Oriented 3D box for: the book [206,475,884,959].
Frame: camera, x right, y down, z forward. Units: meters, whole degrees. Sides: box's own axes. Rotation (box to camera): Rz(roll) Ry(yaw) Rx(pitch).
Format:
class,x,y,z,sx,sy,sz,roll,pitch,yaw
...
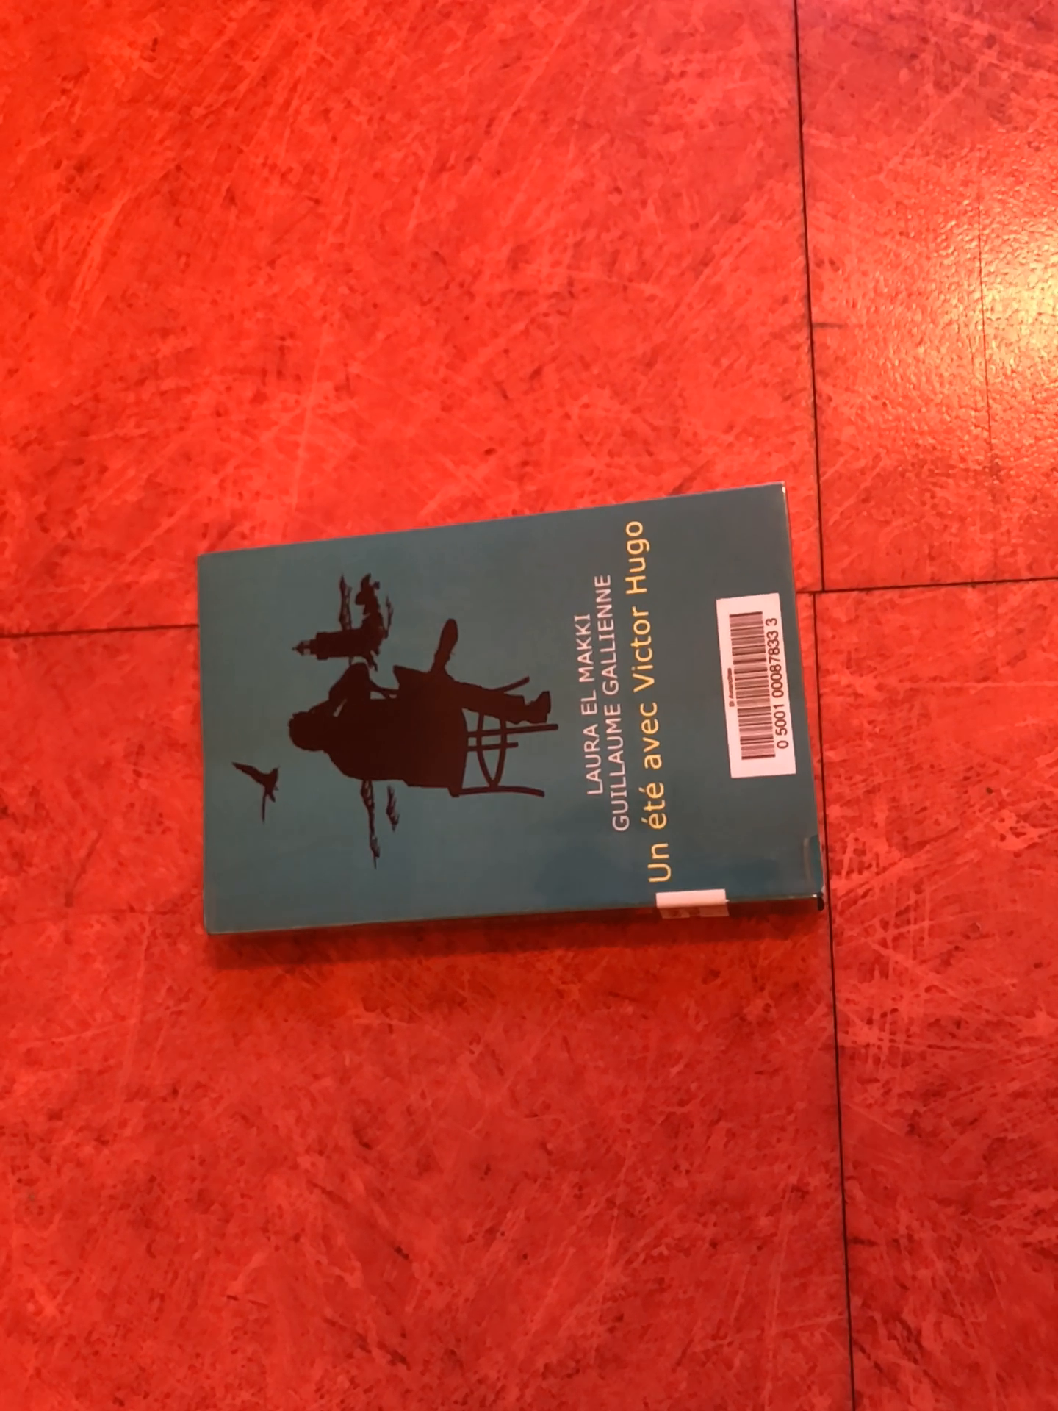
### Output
class,x,y,z,sx,sy,sz,roll,pitch,yaw
book,-0.001,0.006,0.309,0.170,0.020,0.110,-5,81,11
